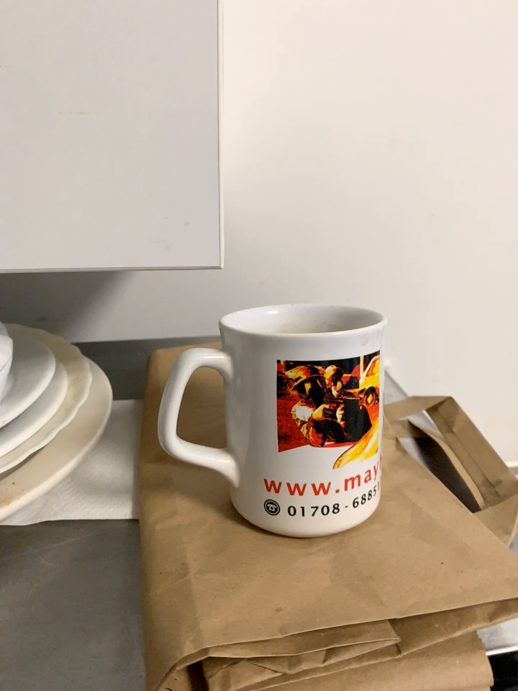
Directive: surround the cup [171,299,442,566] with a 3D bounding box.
[{"bbox_3d":[0.015,0.030,0.249,0.100,0.088,0.078,-4,13,-14],"label":"cup"}]
